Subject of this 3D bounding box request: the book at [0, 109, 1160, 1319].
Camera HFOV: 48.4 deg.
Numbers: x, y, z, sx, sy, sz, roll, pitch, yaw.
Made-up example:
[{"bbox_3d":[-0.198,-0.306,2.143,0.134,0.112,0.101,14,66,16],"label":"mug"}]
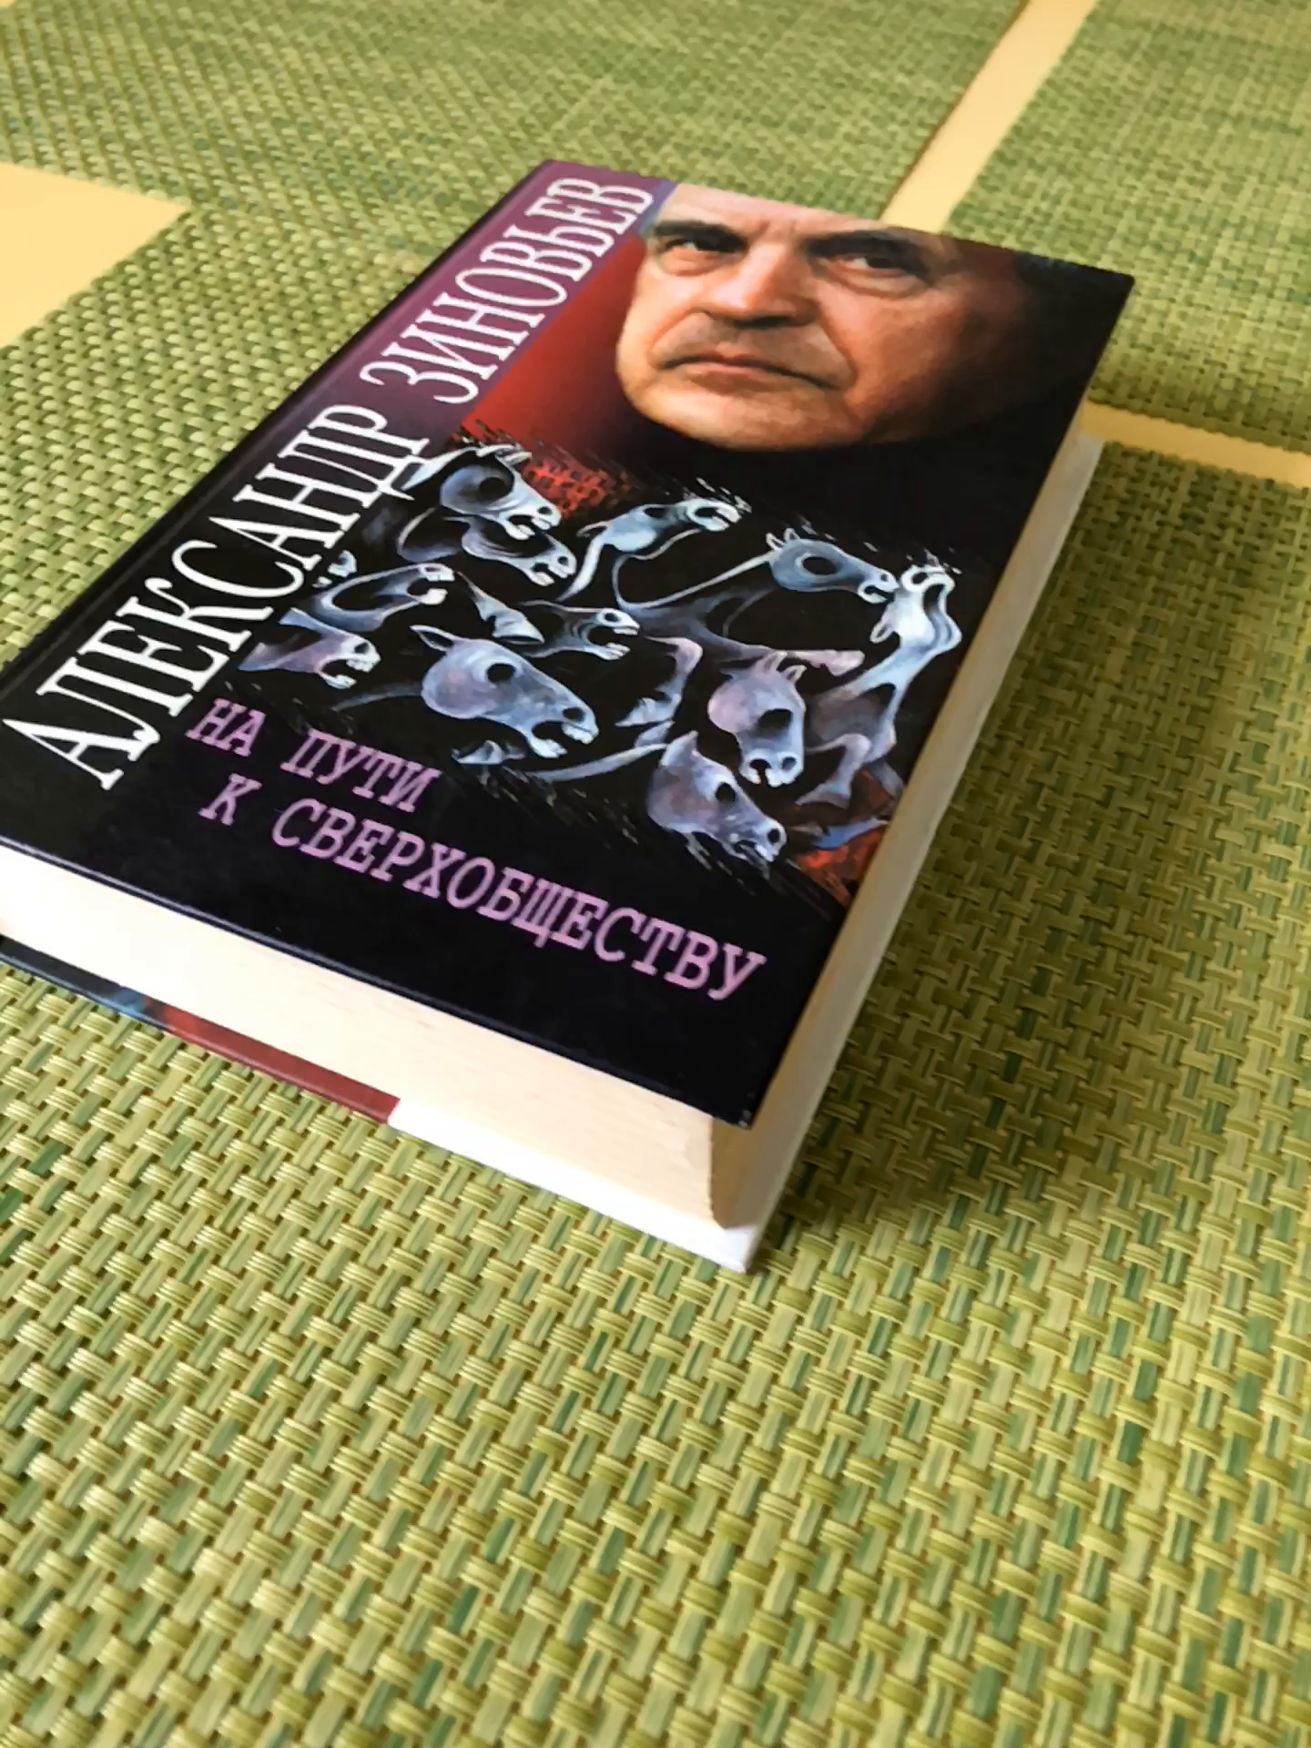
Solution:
[{"bbox_3d":[-0.017,-0.052,0.244,0.150,0.040,0.201,19,53,15],"label":"book"}]
